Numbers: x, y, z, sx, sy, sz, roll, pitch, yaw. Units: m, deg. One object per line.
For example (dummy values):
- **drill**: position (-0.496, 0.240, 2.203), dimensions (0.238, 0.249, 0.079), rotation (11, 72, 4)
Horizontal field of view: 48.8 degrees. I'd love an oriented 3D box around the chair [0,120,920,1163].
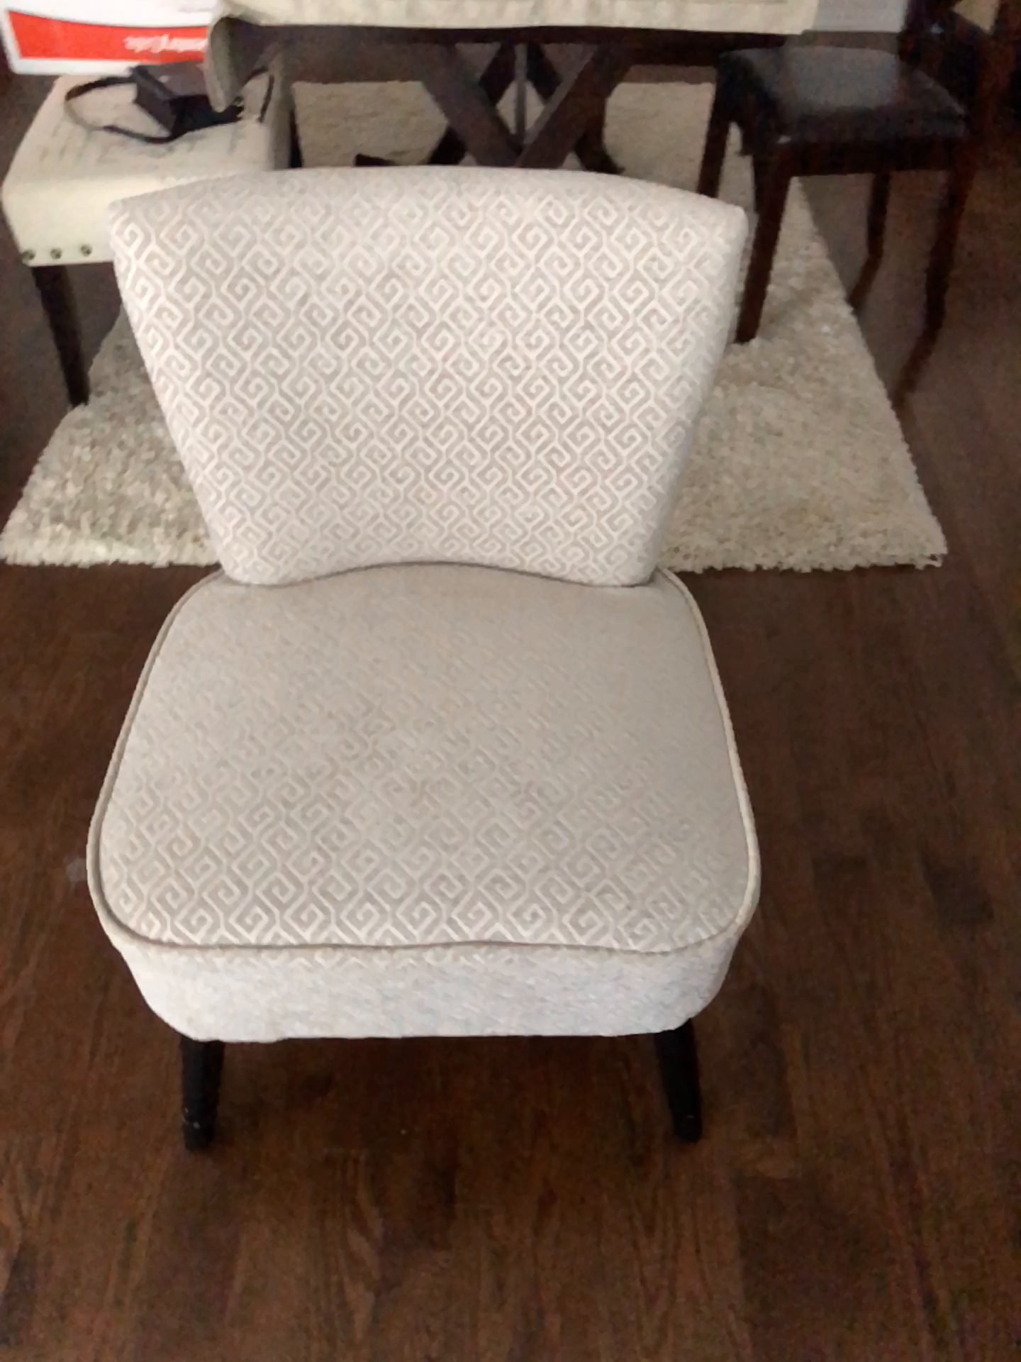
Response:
- **chair**: position (-0.086, -0.010, 1.106), dimensions (0.600, 0.797, 0.642), rotation (0, 46, 0)
